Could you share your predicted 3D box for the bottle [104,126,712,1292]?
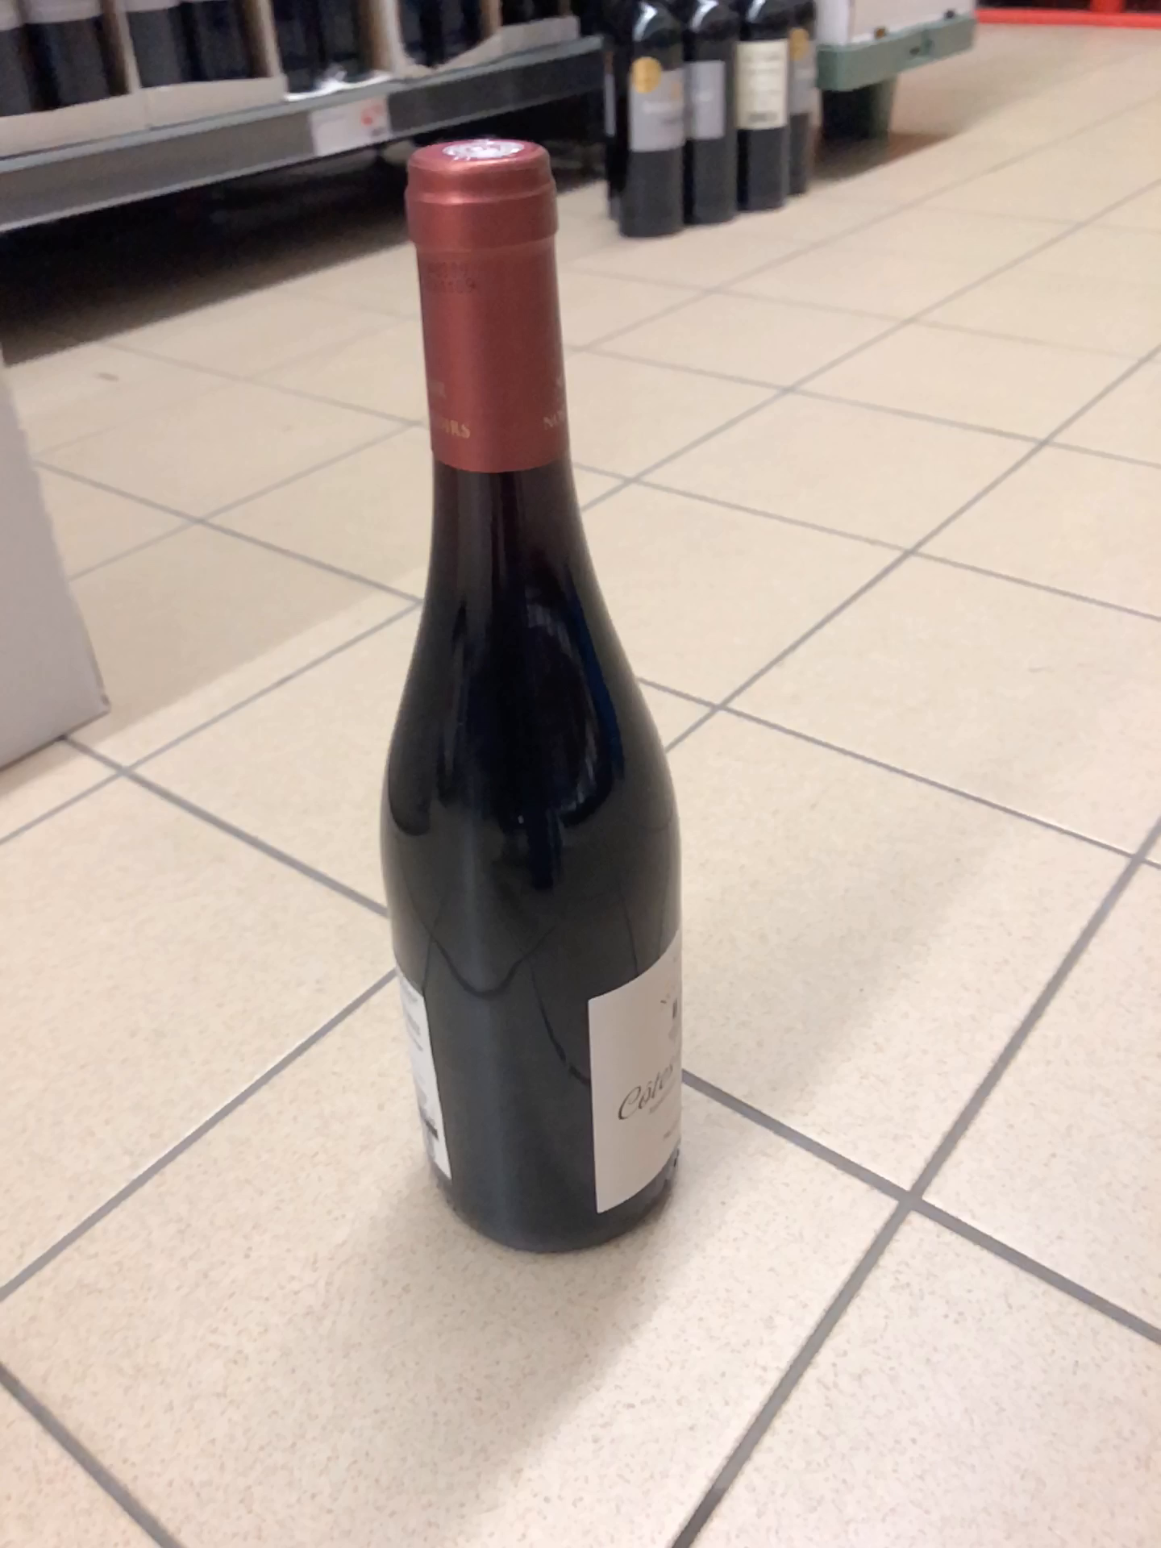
[{"bbox_3d":[-0.019,0.000,0.312,0.090,0.268,0.091,-2,35,1],"label":"bottle"}]
